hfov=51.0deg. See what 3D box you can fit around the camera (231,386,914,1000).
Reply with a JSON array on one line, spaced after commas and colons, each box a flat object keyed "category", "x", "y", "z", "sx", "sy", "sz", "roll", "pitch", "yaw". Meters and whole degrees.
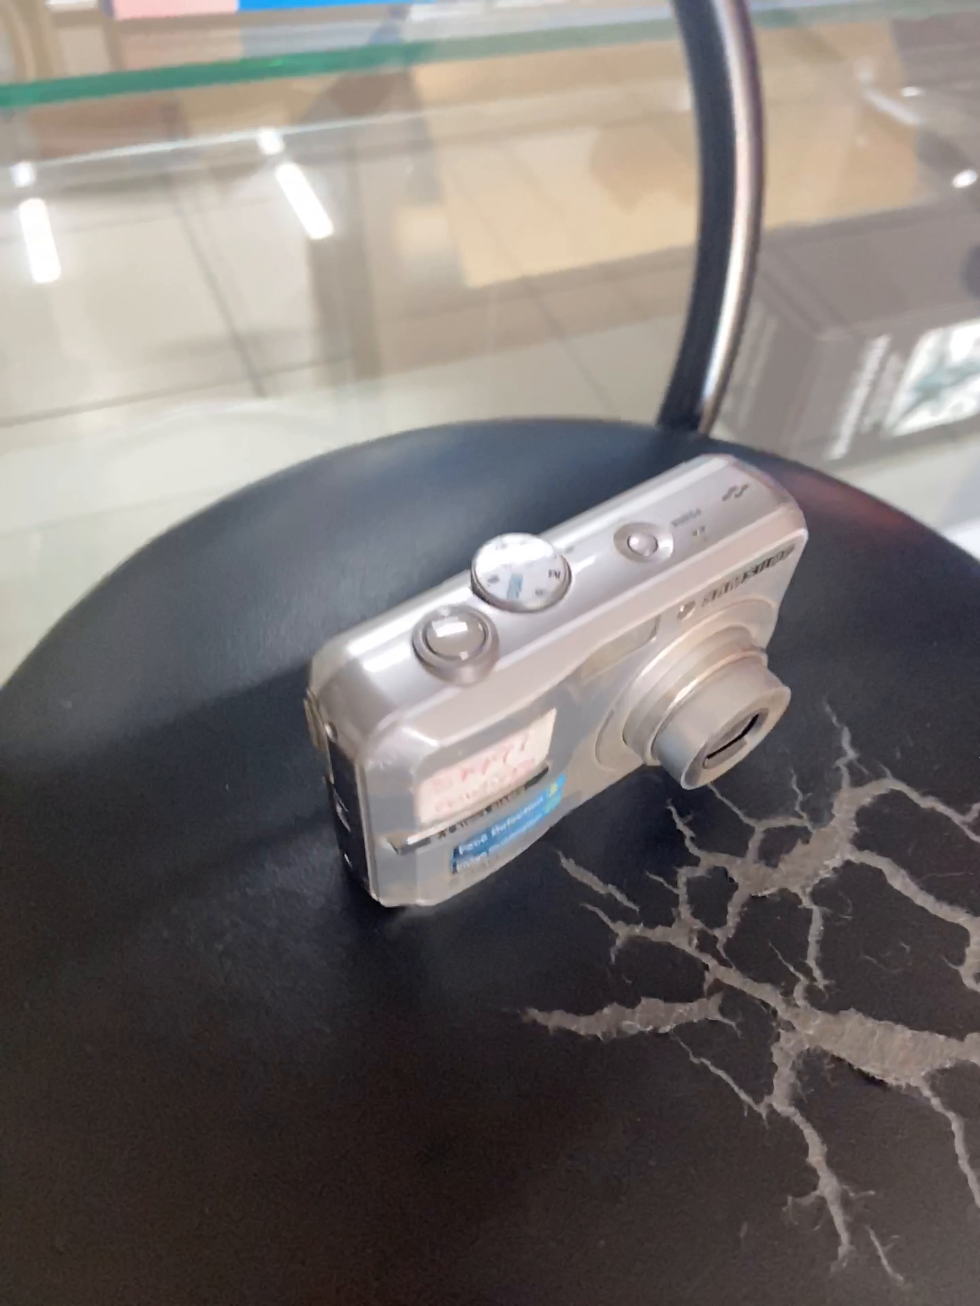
[{"category": "camera", "x": 0.014, "y": 0.005, "z": 0.188, "sx": 0.100, "sy": 0.060, "sz": 0.050, "roll": -27, "pitch": 59, "yaw": -23}]
